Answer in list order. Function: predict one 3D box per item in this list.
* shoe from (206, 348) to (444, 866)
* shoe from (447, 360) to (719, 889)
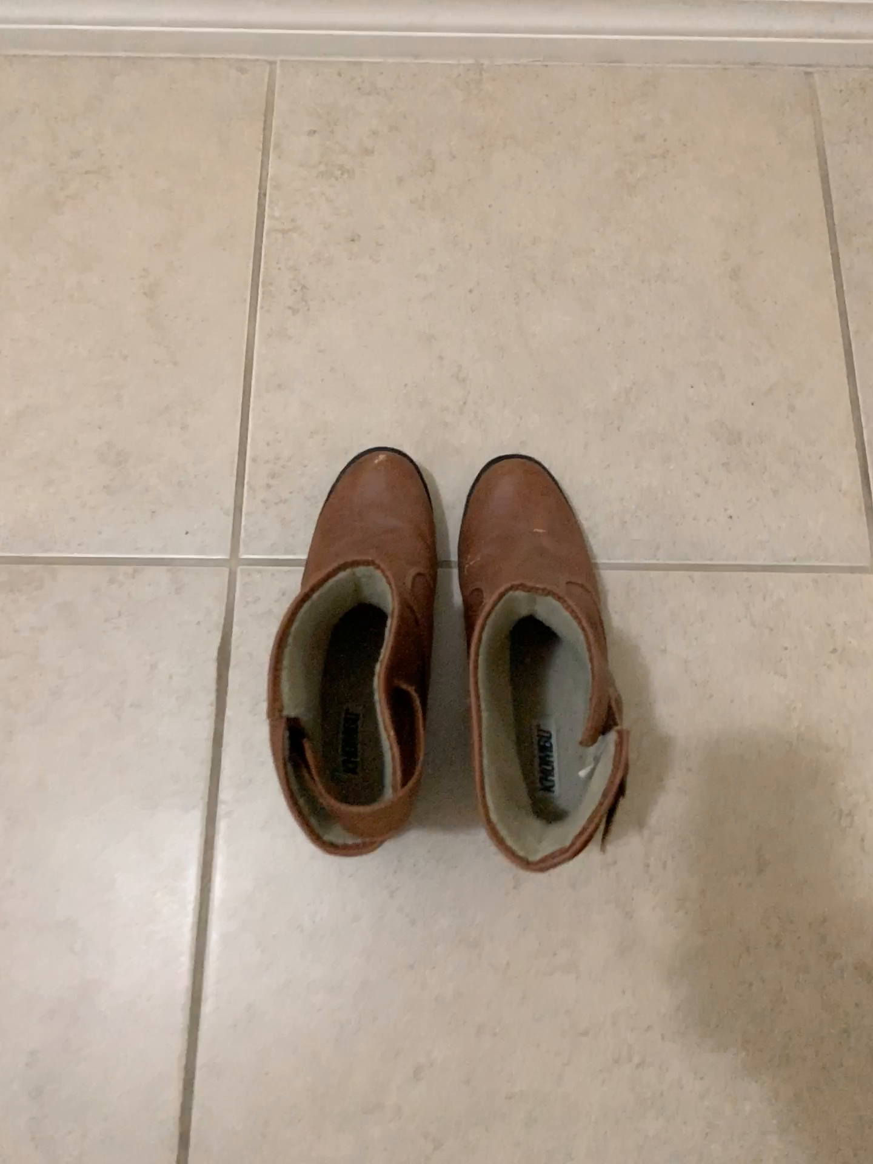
[{"bbox_3d":[-0.047,0.028,0.505,0.094,0.193,0.247,2,73,0],"label":"shoe"},{"bbox_3d":[0.066,0.034,0.514,0.107,0.173,0.260,-2,73,-1],"label":"shoe"}]
